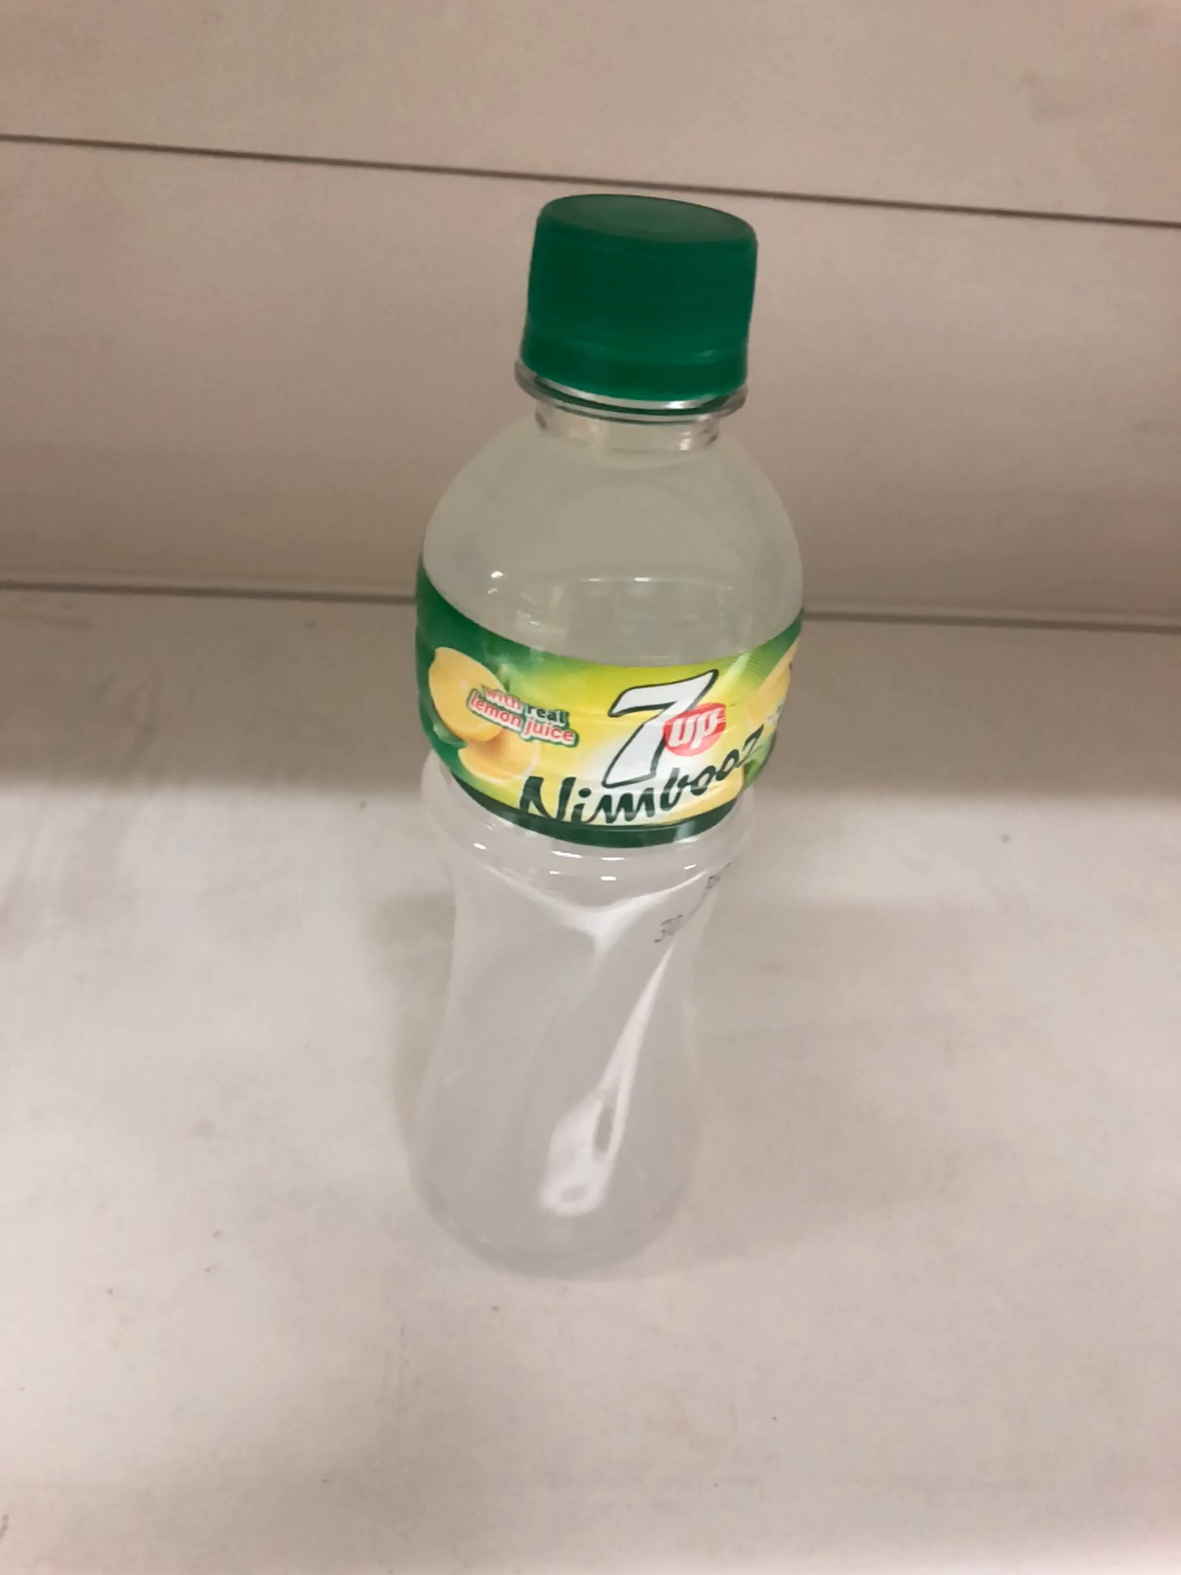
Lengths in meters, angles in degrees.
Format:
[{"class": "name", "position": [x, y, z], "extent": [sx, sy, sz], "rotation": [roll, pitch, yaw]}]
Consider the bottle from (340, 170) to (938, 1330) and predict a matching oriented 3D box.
[{"class": "bottle", "position": [-0.005, 0.003, 0.240], "extent": [0.070, 0.199, 0.060], "rotation": [-5, 34, -16]}]
